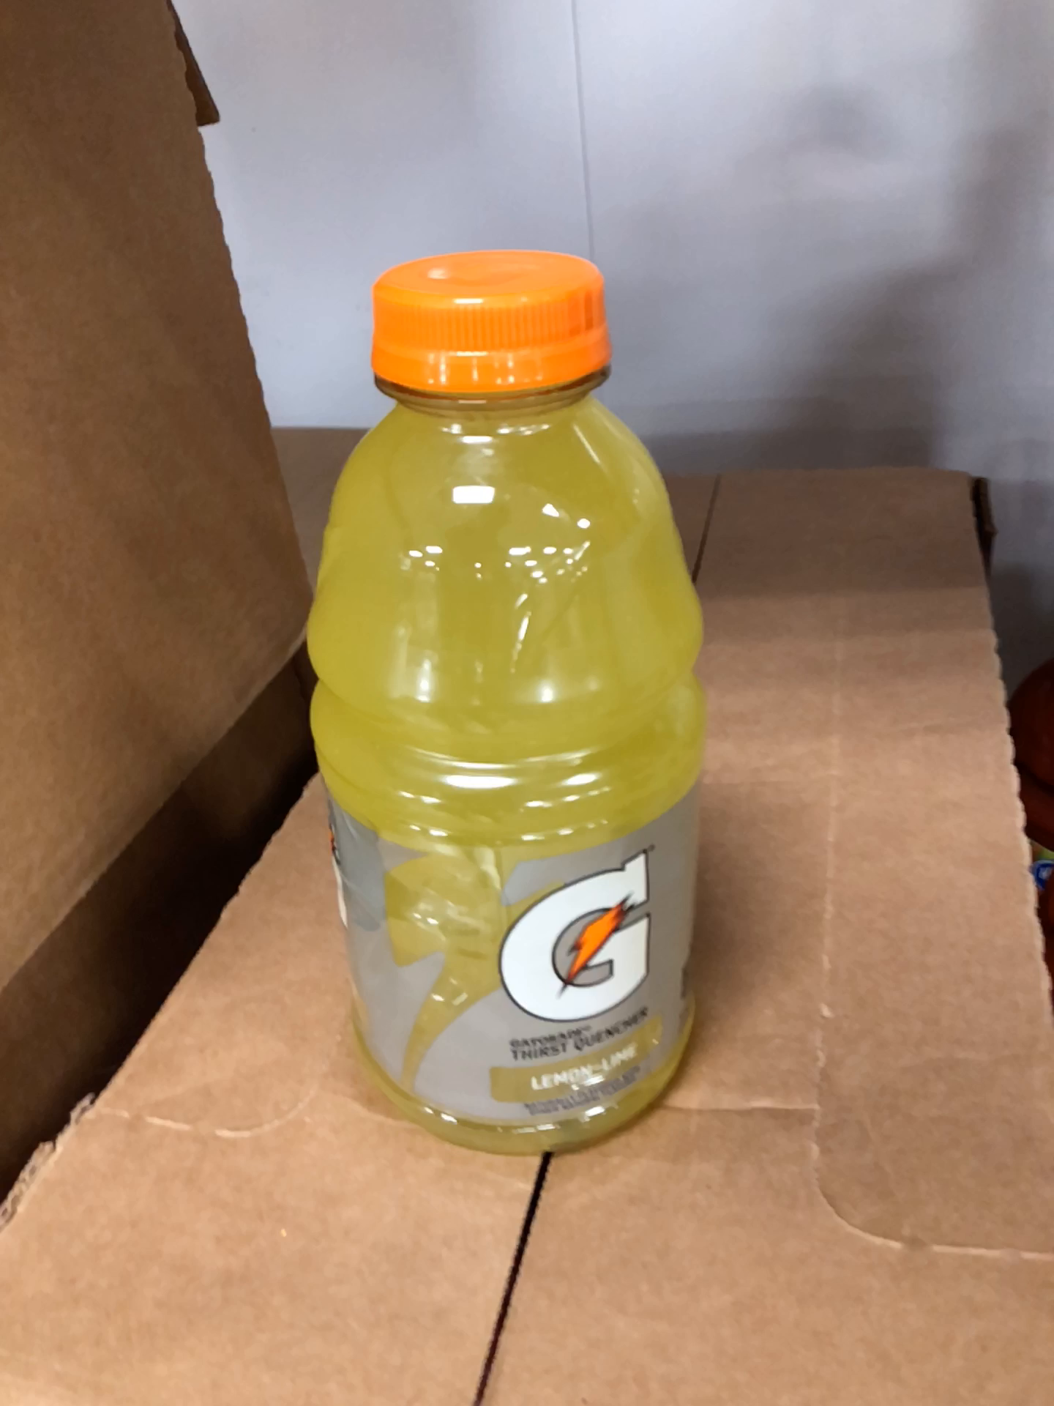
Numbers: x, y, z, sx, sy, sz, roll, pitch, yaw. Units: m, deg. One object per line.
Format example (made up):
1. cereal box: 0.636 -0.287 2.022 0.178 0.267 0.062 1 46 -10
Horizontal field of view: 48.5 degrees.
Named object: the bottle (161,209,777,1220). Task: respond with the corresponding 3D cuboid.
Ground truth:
1. bottle: -0.009 0.006 0.282 0.100 0.209 0.090 -14 33 -12
